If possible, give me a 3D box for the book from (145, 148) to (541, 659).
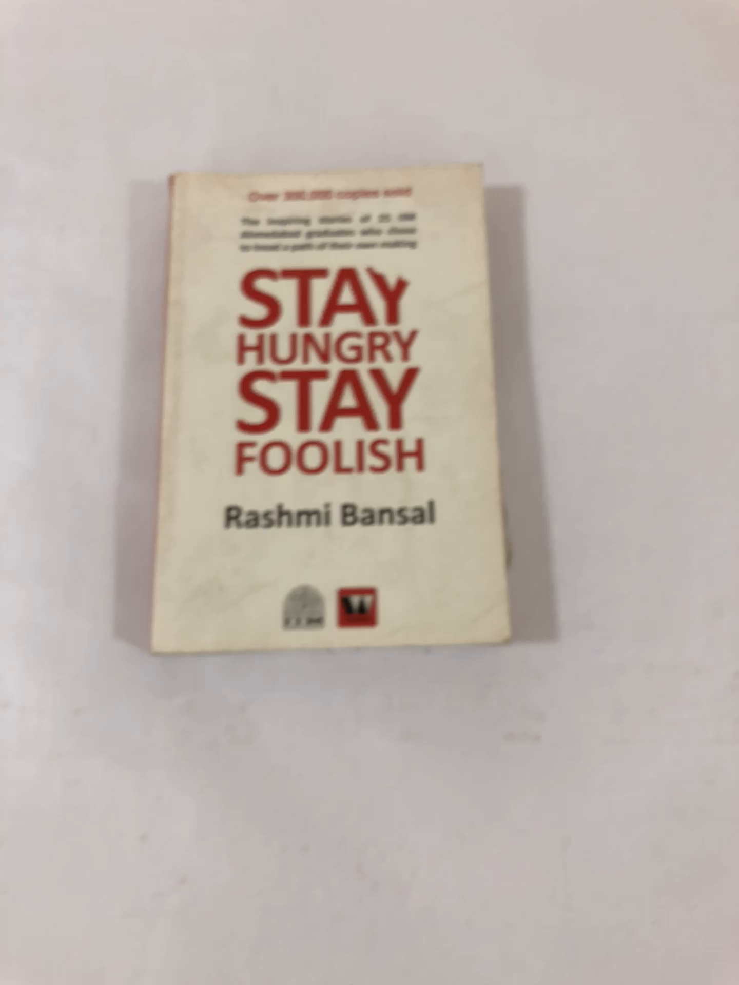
[{"bbox_3d":[-0.011,-0.036,0.320,0.130,0.040,0.190,-1,74,0],"label":"book"}]
